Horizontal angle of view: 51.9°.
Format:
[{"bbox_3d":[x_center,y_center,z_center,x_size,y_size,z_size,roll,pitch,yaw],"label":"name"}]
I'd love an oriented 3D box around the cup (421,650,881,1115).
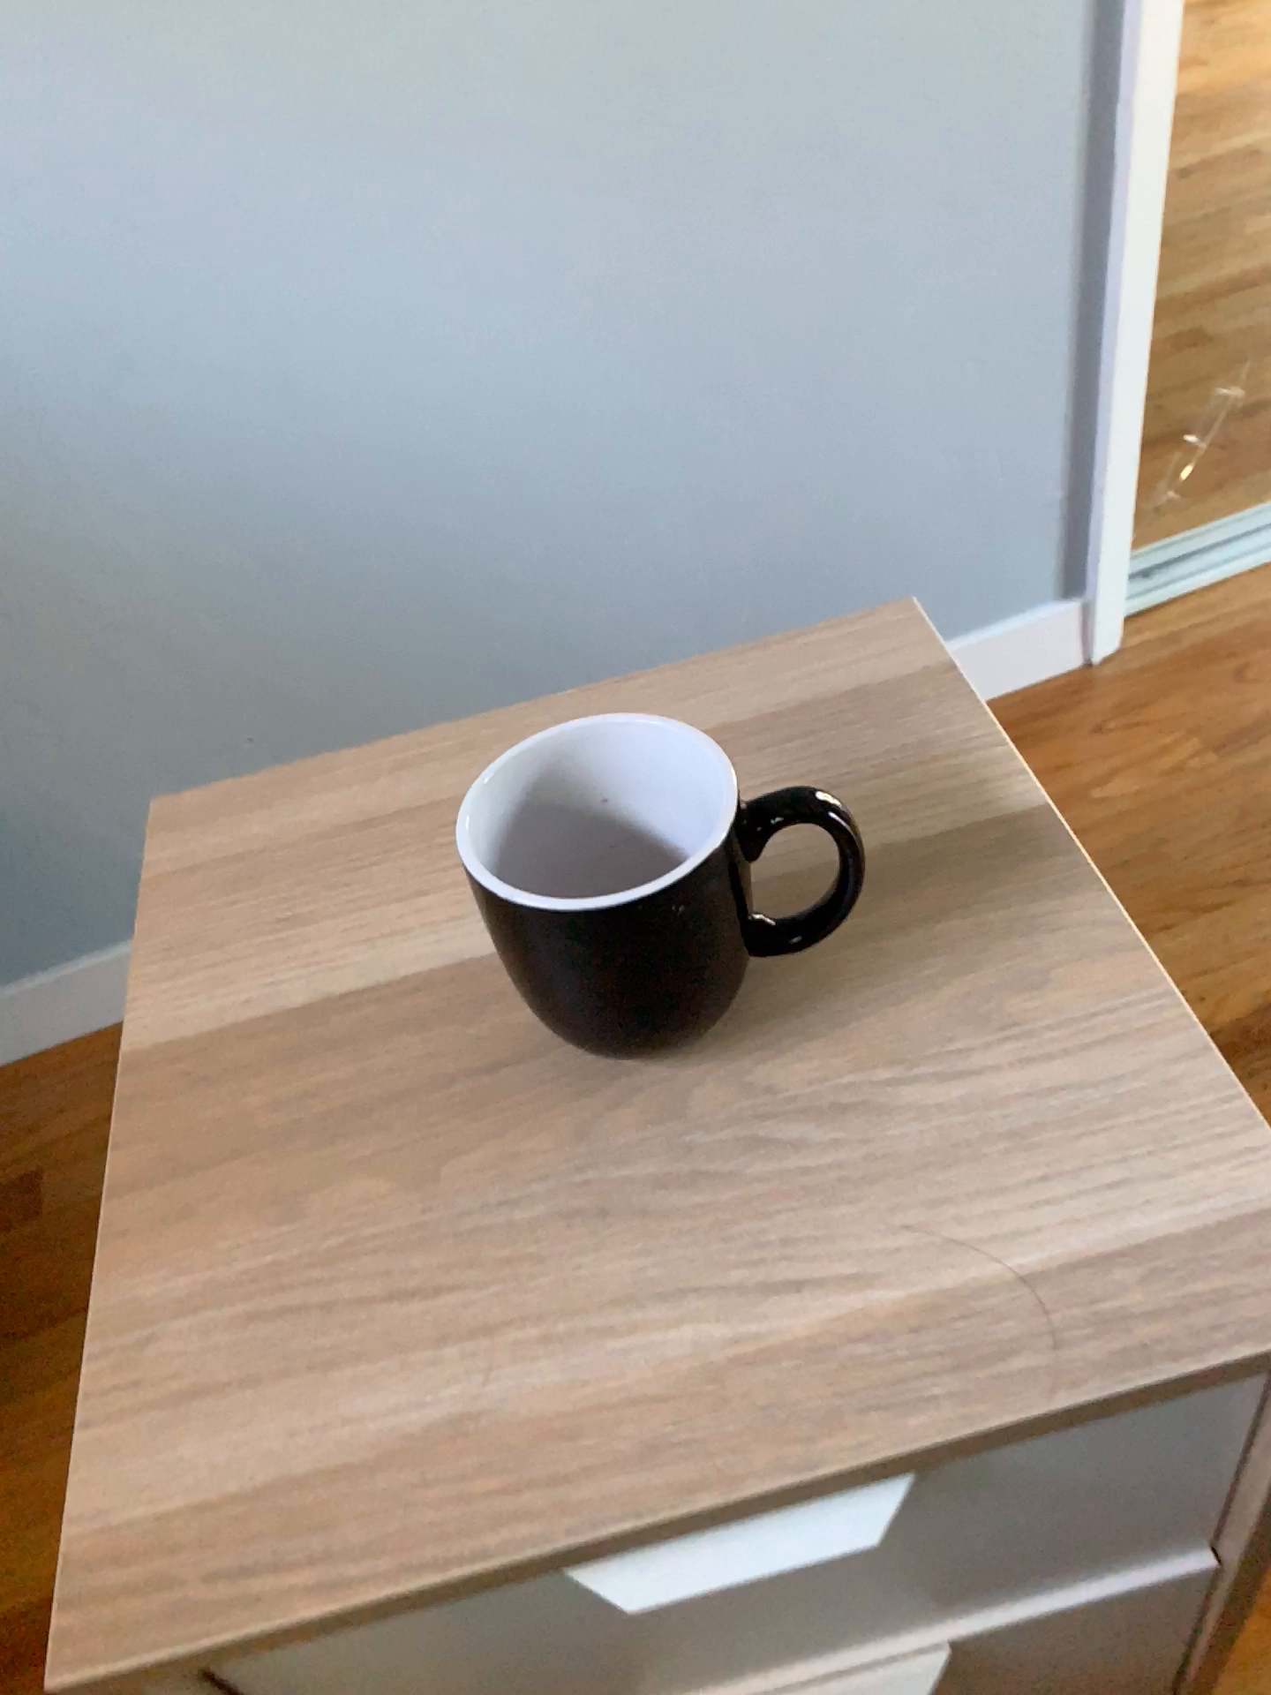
[{"bbox_3d":[0.010,0.015,0.487,0.140,0.119,0.100,-8,43,7],"label":"cup"}]
